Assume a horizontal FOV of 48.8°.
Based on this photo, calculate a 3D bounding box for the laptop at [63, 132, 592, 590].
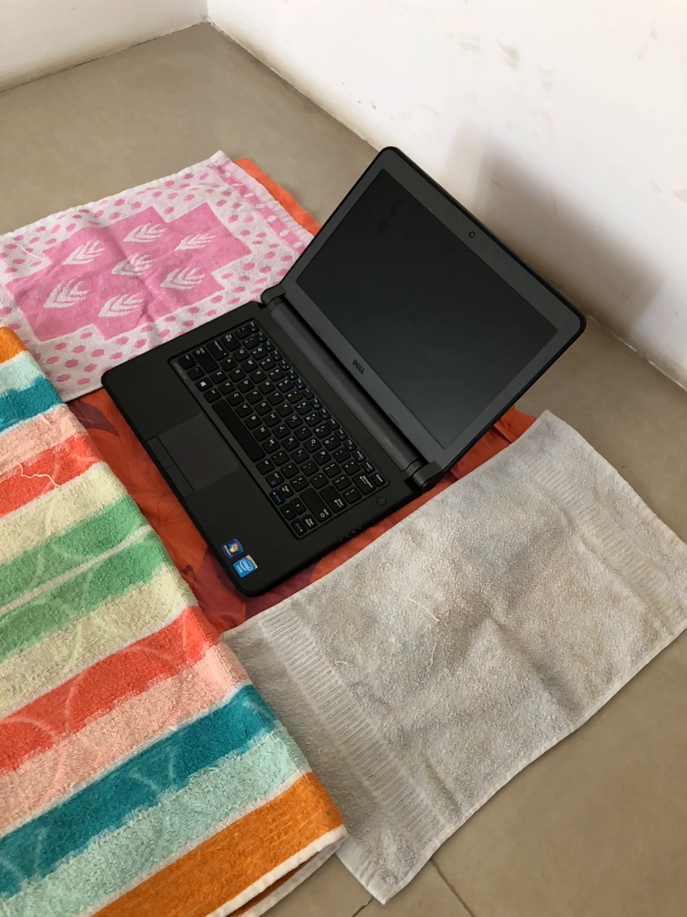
[{"bbox_3d":[-0.021,-0.120,0.780,0.392,0.143,0.314,-30,64,-18],"label":"laptop"}]
